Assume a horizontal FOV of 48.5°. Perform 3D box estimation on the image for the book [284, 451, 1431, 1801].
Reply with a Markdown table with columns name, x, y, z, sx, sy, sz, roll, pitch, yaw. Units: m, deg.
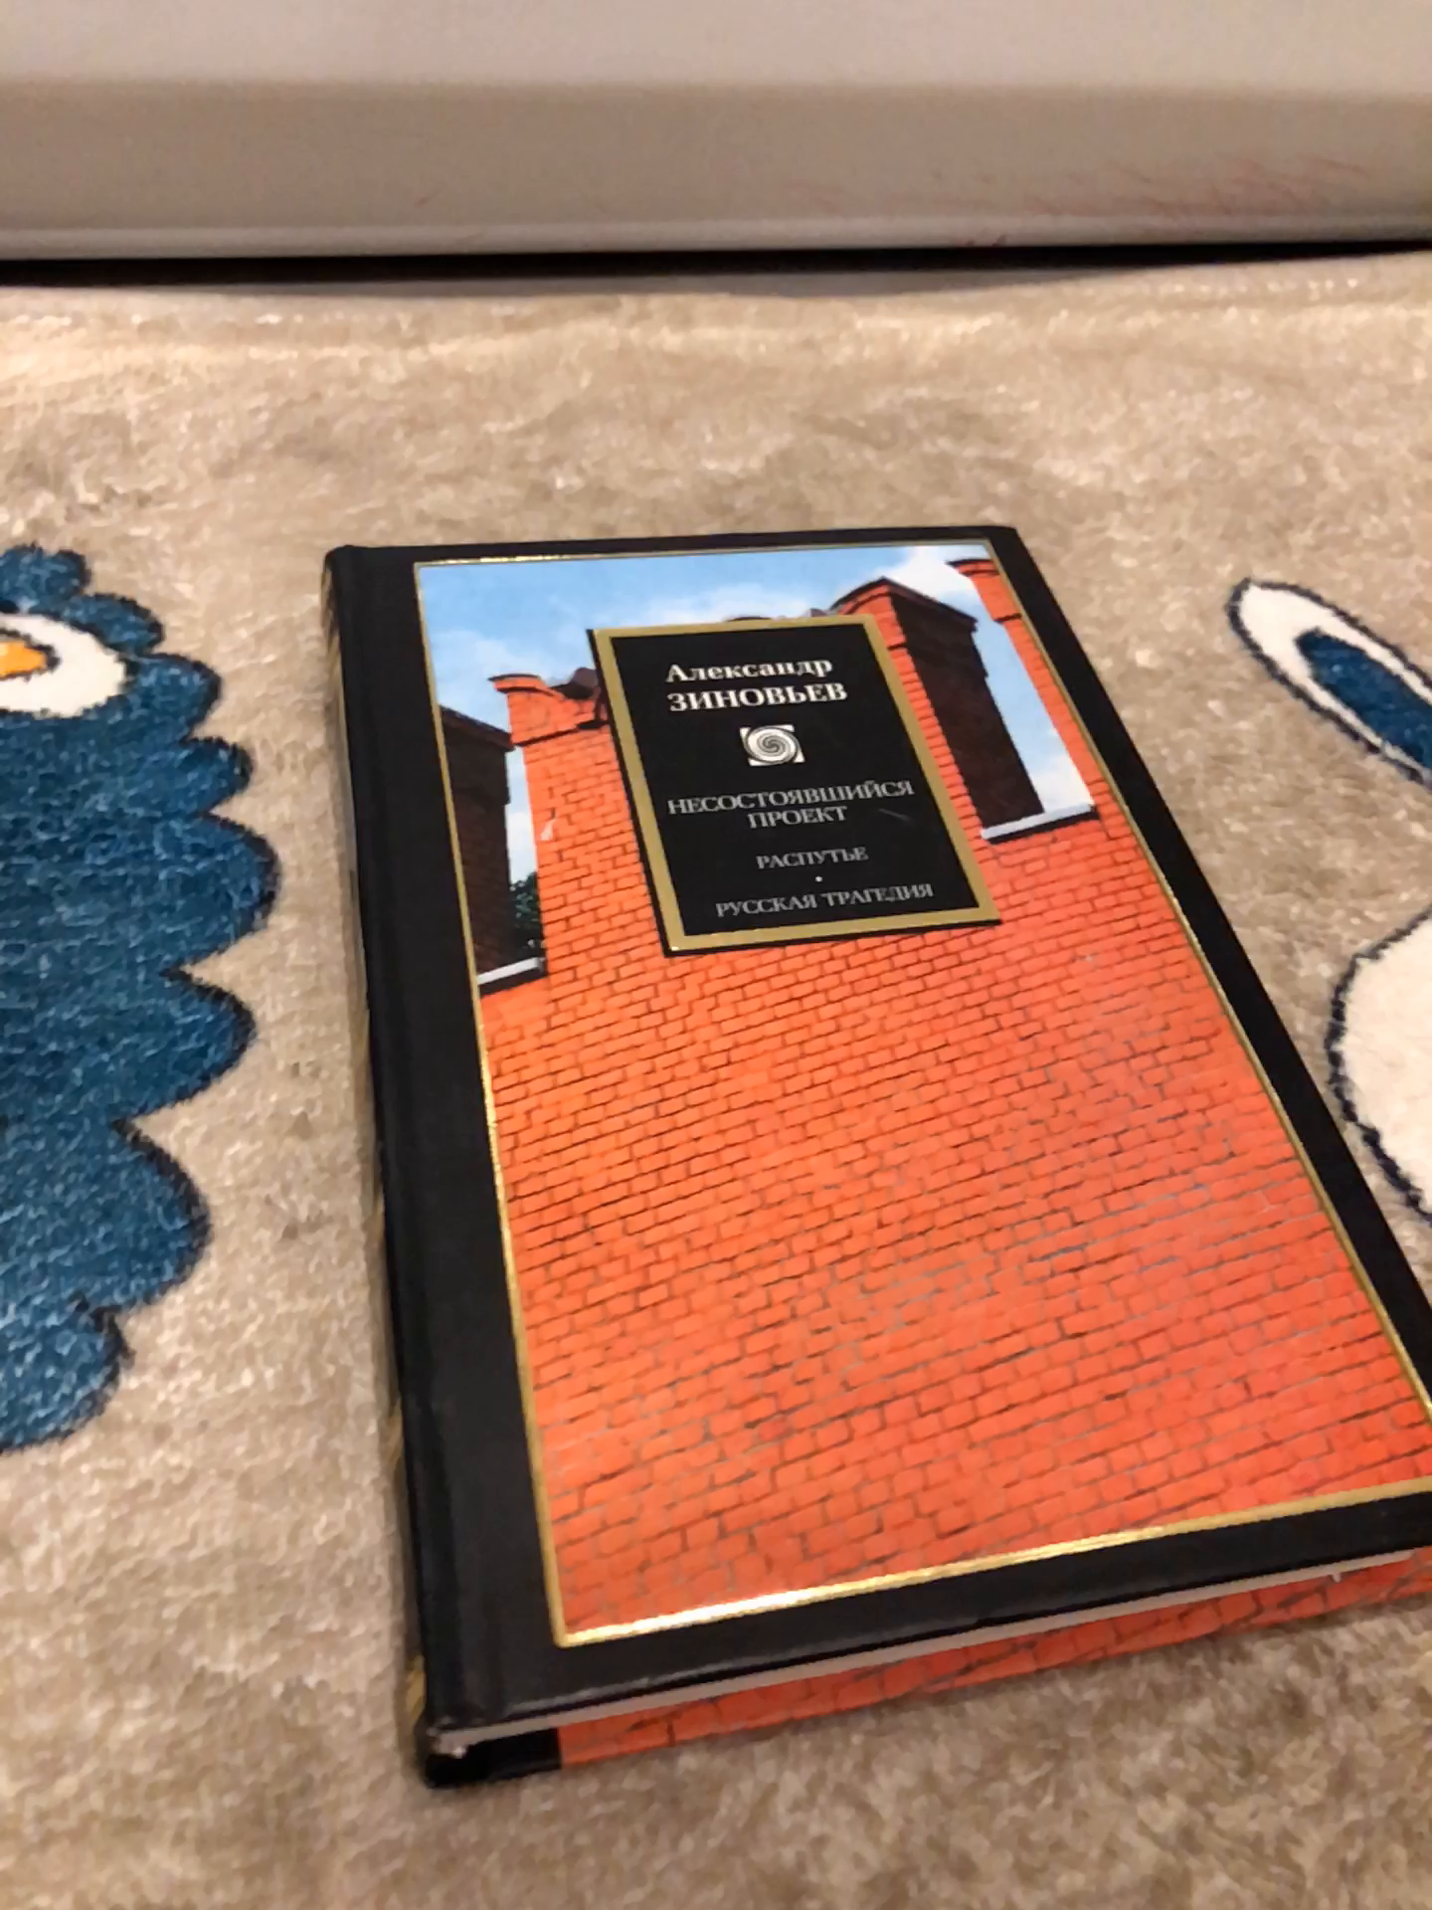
| name | x | y | z | sx | sy | sz | roll | pitch | yaw |
| --- | --- | --- | --- | --- | --- | --- | --- | --- | --- |
| book | 0.009 | -0.002 | 0.247 | 0.140 | 0.040 | 0.211 | -5 | 50 | -11 |
